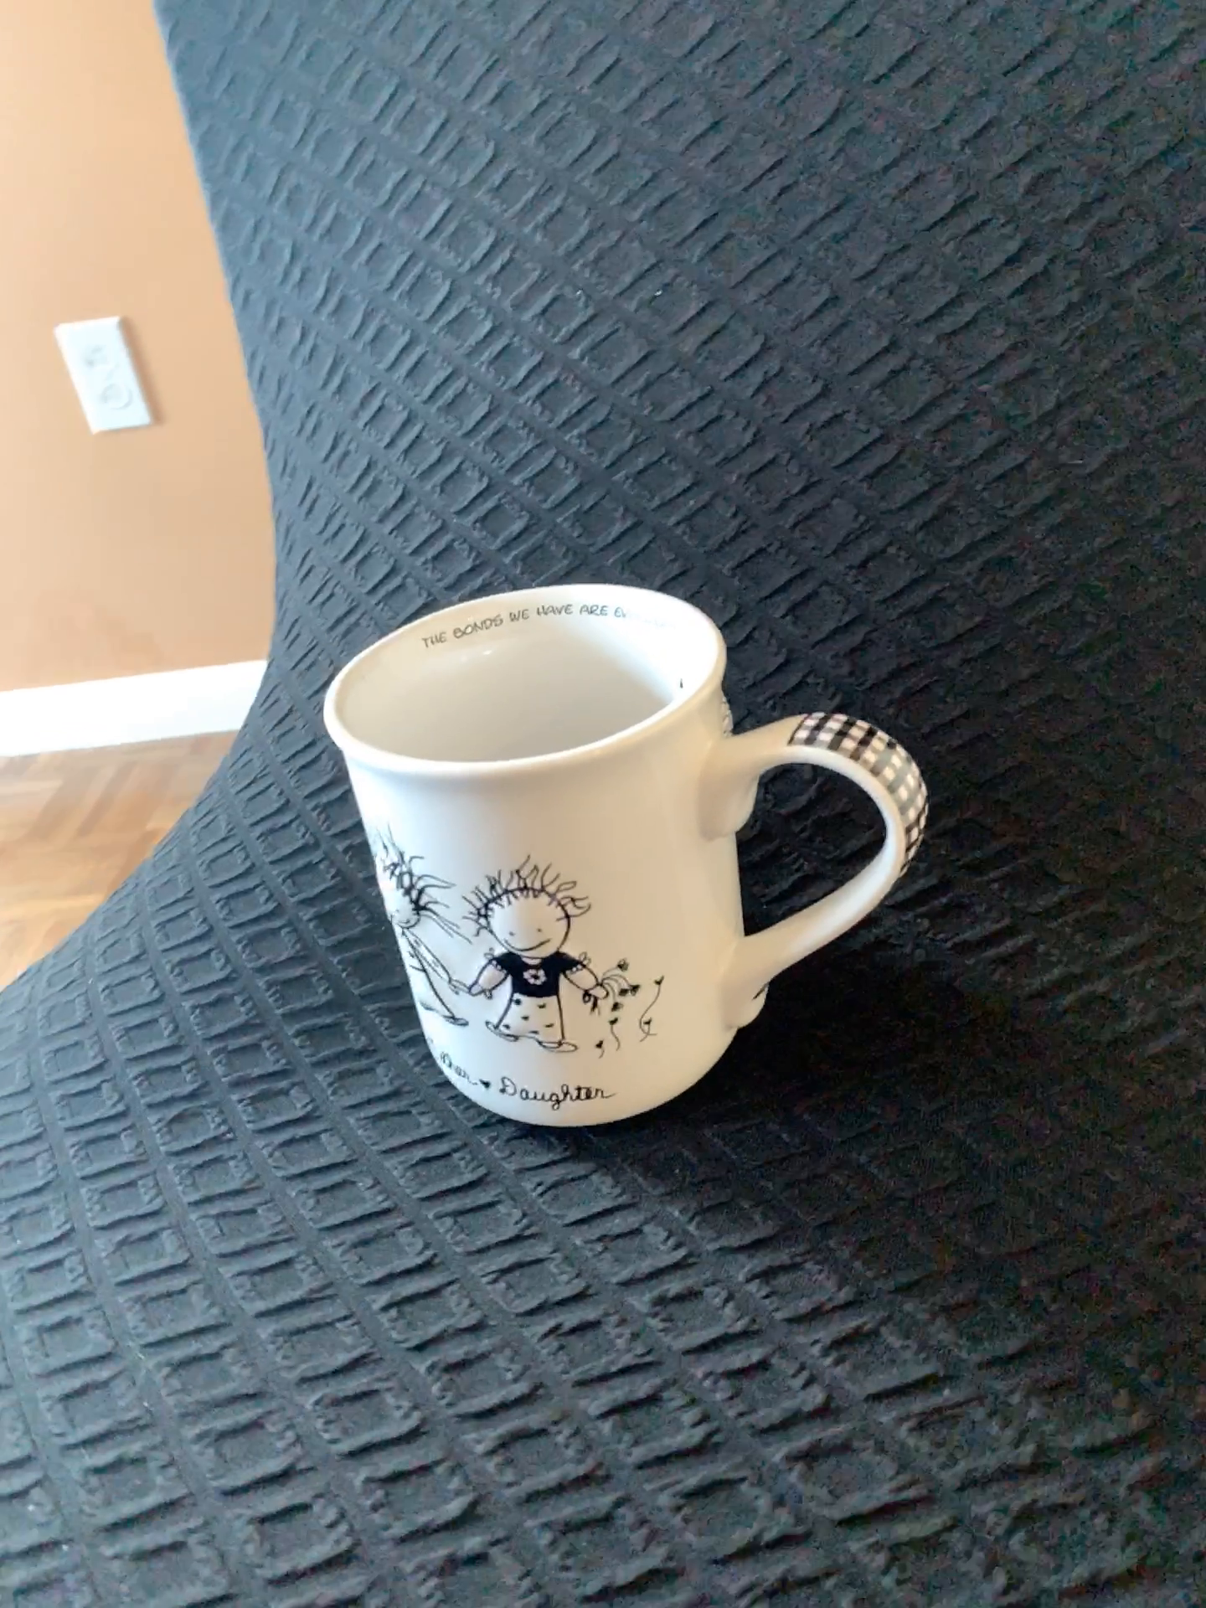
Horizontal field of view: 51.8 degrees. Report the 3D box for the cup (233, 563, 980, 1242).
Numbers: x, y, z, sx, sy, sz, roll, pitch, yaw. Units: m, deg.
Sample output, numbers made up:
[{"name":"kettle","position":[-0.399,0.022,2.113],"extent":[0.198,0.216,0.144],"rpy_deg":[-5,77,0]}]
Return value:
[{"name":"cup","position":[0.011,0.014,0.307],"extent":[0.140,0.109,0.100],"rpy_deg":[7,37,26]}]
